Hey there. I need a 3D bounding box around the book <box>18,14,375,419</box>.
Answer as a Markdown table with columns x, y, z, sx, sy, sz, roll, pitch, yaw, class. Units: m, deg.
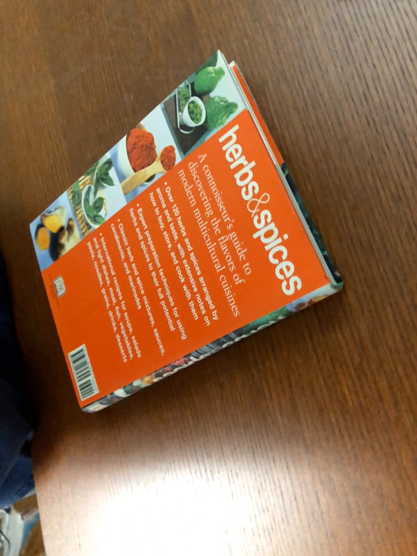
| x | y | z | sx | sy | sz | roll | pitch | yaw | class |
| --- | --- | --- | --- | --- | --- | --- | --- | --- | --- |
| -0.041 | -0.030 | 0.377 | 0.271 | 0.040 | 0.210 | -30 | 71 | 31 | book |
